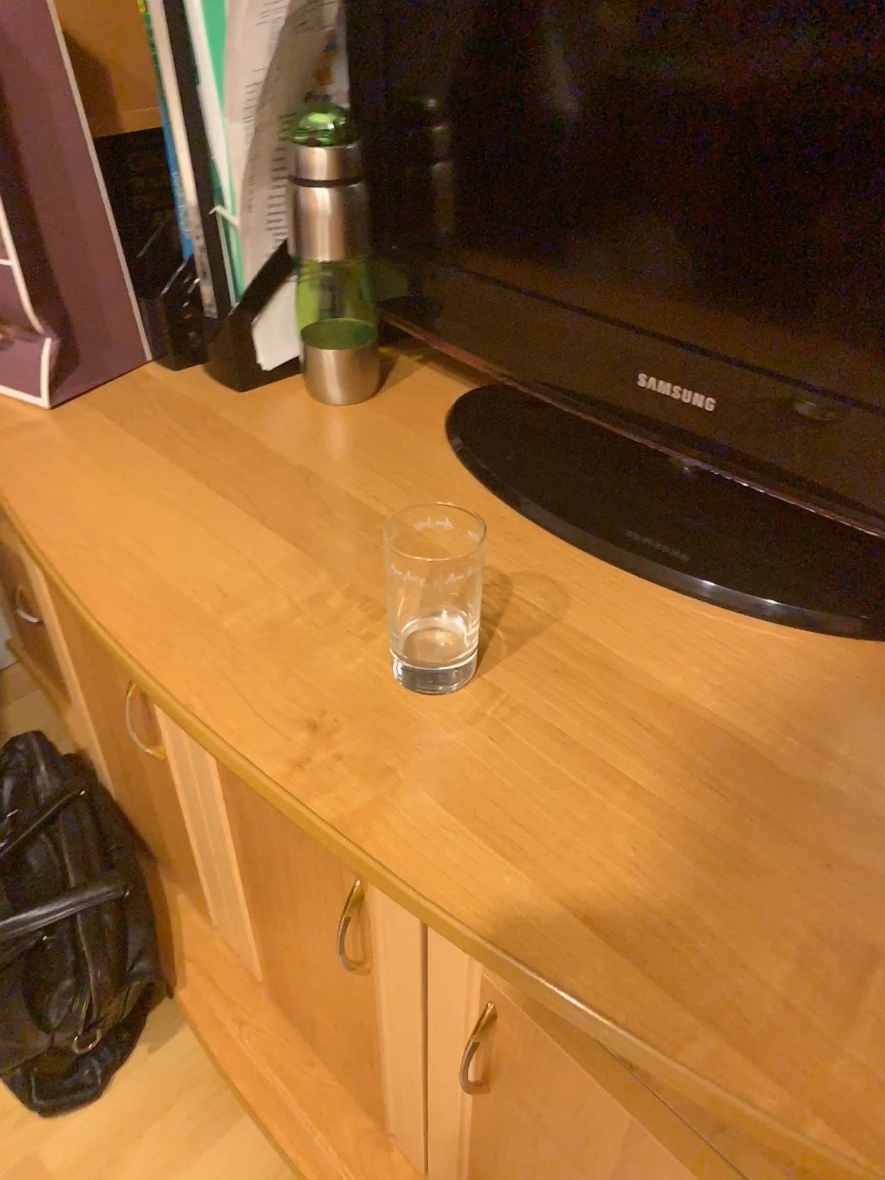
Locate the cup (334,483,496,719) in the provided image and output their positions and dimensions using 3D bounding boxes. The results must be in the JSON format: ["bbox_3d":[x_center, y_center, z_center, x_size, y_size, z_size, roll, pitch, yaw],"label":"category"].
[{"bbox_3d":[-0.015,0.006,0.500,0.060,0.098,0.061,0,37,0],"label":"cup"}]
